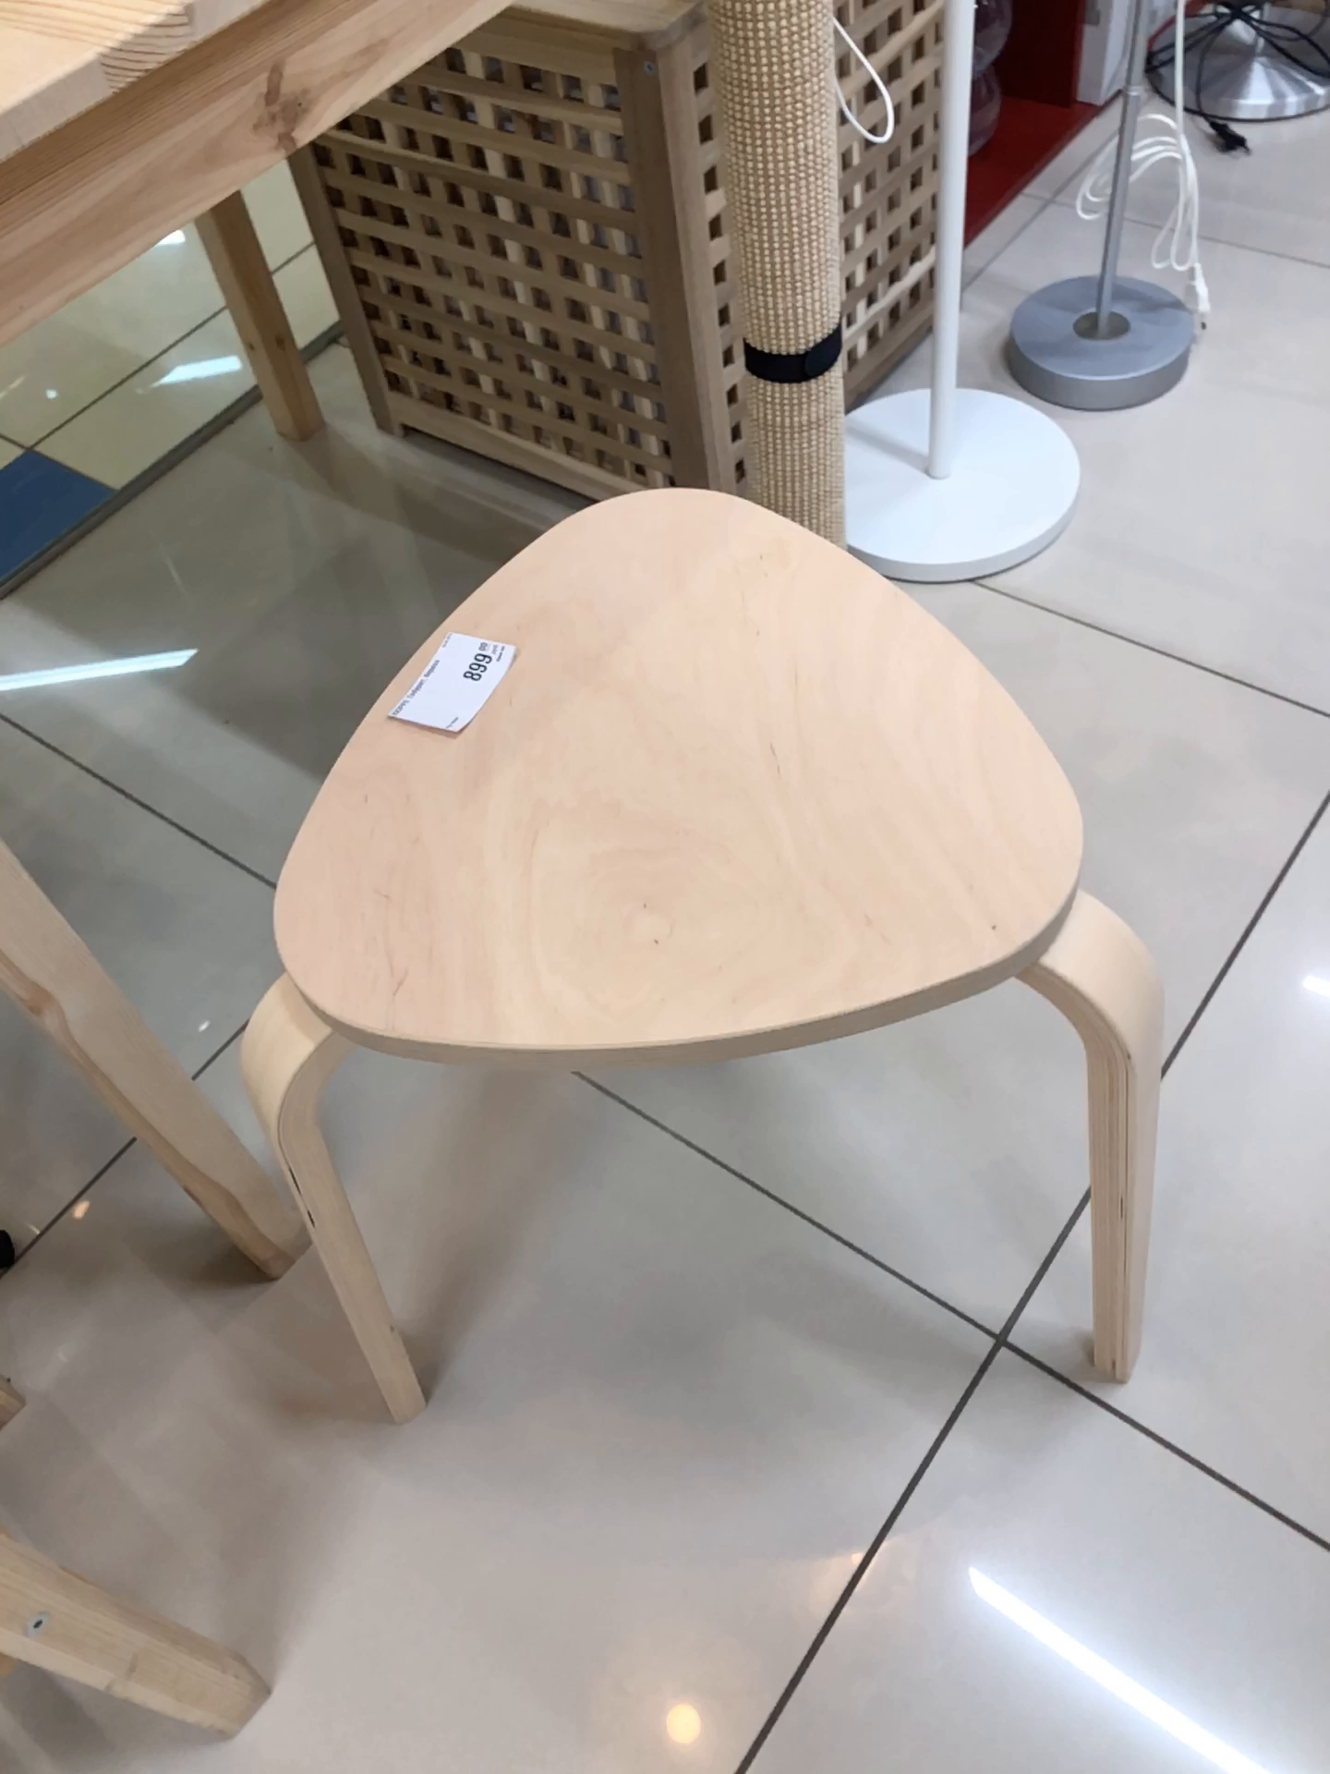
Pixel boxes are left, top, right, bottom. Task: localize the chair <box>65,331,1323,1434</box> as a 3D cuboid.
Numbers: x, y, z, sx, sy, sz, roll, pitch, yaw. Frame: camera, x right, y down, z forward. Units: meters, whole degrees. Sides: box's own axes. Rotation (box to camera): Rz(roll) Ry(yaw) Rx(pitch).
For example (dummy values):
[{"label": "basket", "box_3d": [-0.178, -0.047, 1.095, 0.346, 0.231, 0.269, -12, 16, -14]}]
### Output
[{"label": "chair", "box_3d": [0.028, 0.027, 0.881, 0.490, 0.467, 0.433, -5, 53, 5]}]
